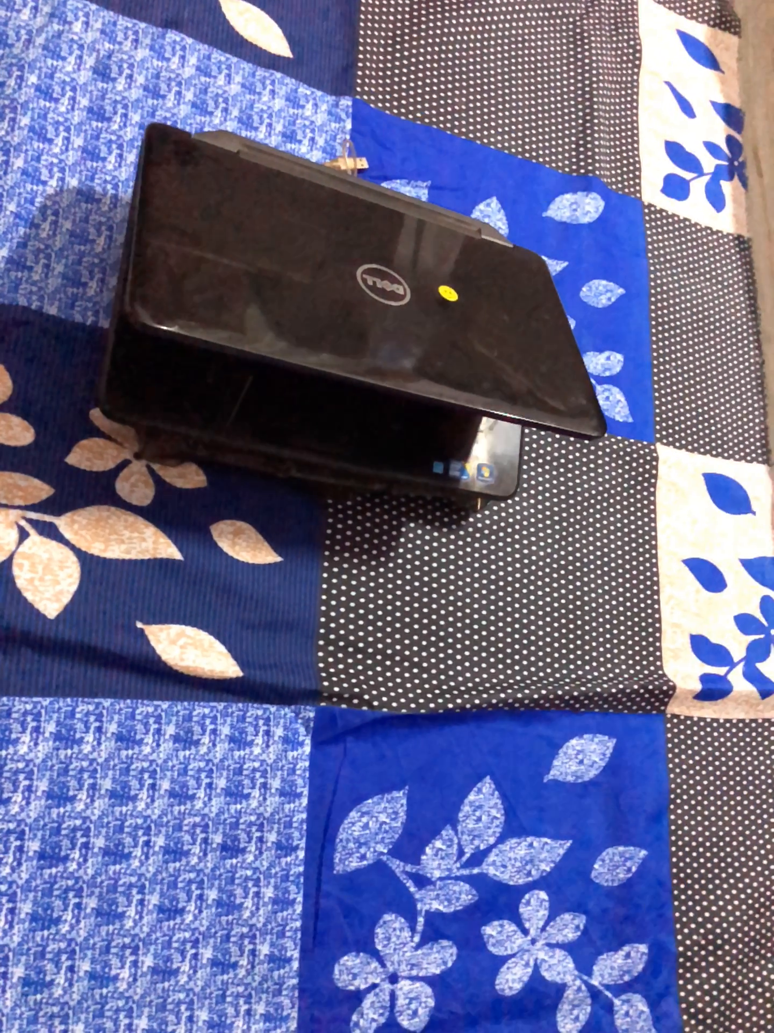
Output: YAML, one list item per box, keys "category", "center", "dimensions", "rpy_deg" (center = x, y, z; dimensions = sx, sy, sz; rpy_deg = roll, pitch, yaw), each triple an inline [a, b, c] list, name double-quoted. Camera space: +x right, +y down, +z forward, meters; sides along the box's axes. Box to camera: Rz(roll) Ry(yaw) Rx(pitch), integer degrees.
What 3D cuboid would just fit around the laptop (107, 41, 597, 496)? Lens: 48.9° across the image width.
- category: "laptop"
  center: [-0.012, -0.174, 0.684]
  dimensions: [0.363, 0.092, 0.236]
  rpy_deg: [10, 78, -24]
